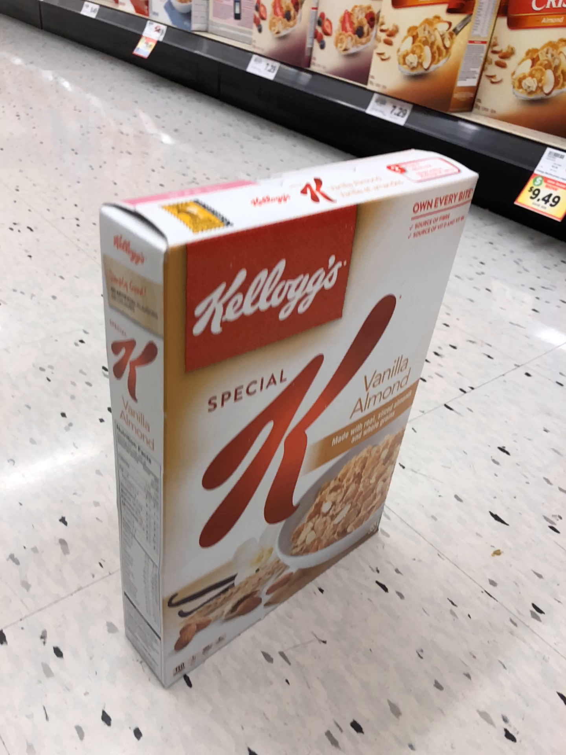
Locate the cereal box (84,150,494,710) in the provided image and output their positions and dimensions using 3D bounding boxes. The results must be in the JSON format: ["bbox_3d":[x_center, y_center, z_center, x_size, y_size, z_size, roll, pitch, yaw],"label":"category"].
[{"bbox_3d":[0.006,0.025,0.340,0.201,0.258,0.050,-24,43,-38],"label":"cereal box"}]
